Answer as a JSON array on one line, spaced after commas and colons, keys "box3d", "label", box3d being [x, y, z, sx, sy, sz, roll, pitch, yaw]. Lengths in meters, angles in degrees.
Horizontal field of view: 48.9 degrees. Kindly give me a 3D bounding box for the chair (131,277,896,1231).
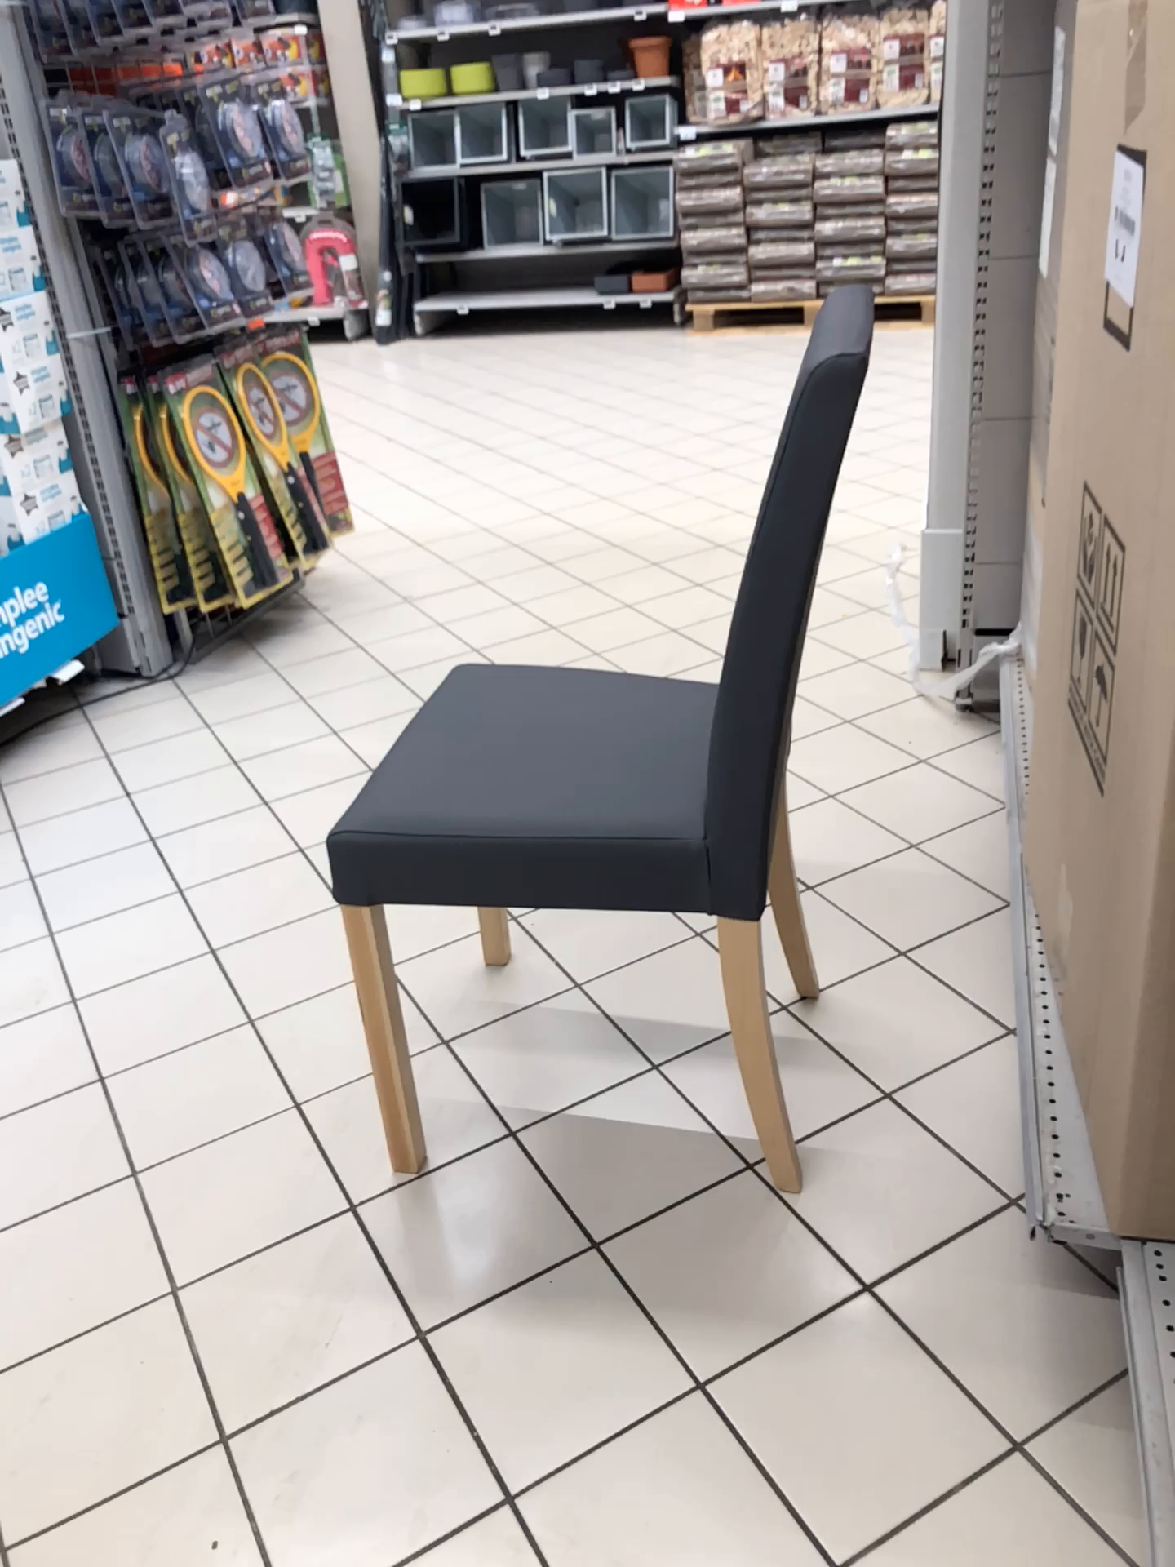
[{"box3d": [-0.009, -0.034, 1.342, 0.570, 0.826, 0.473, -4, 26, 5], "label": "chair"}]
